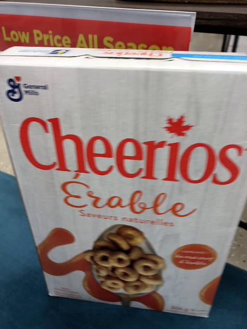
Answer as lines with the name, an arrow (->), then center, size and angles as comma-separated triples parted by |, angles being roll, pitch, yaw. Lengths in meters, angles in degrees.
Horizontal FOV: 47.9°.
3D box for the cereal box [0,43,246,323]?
cereal box -> 0.007, 0.037, 0.266 | 0.210, 0.269, 0.060 | 4, 34, 7
